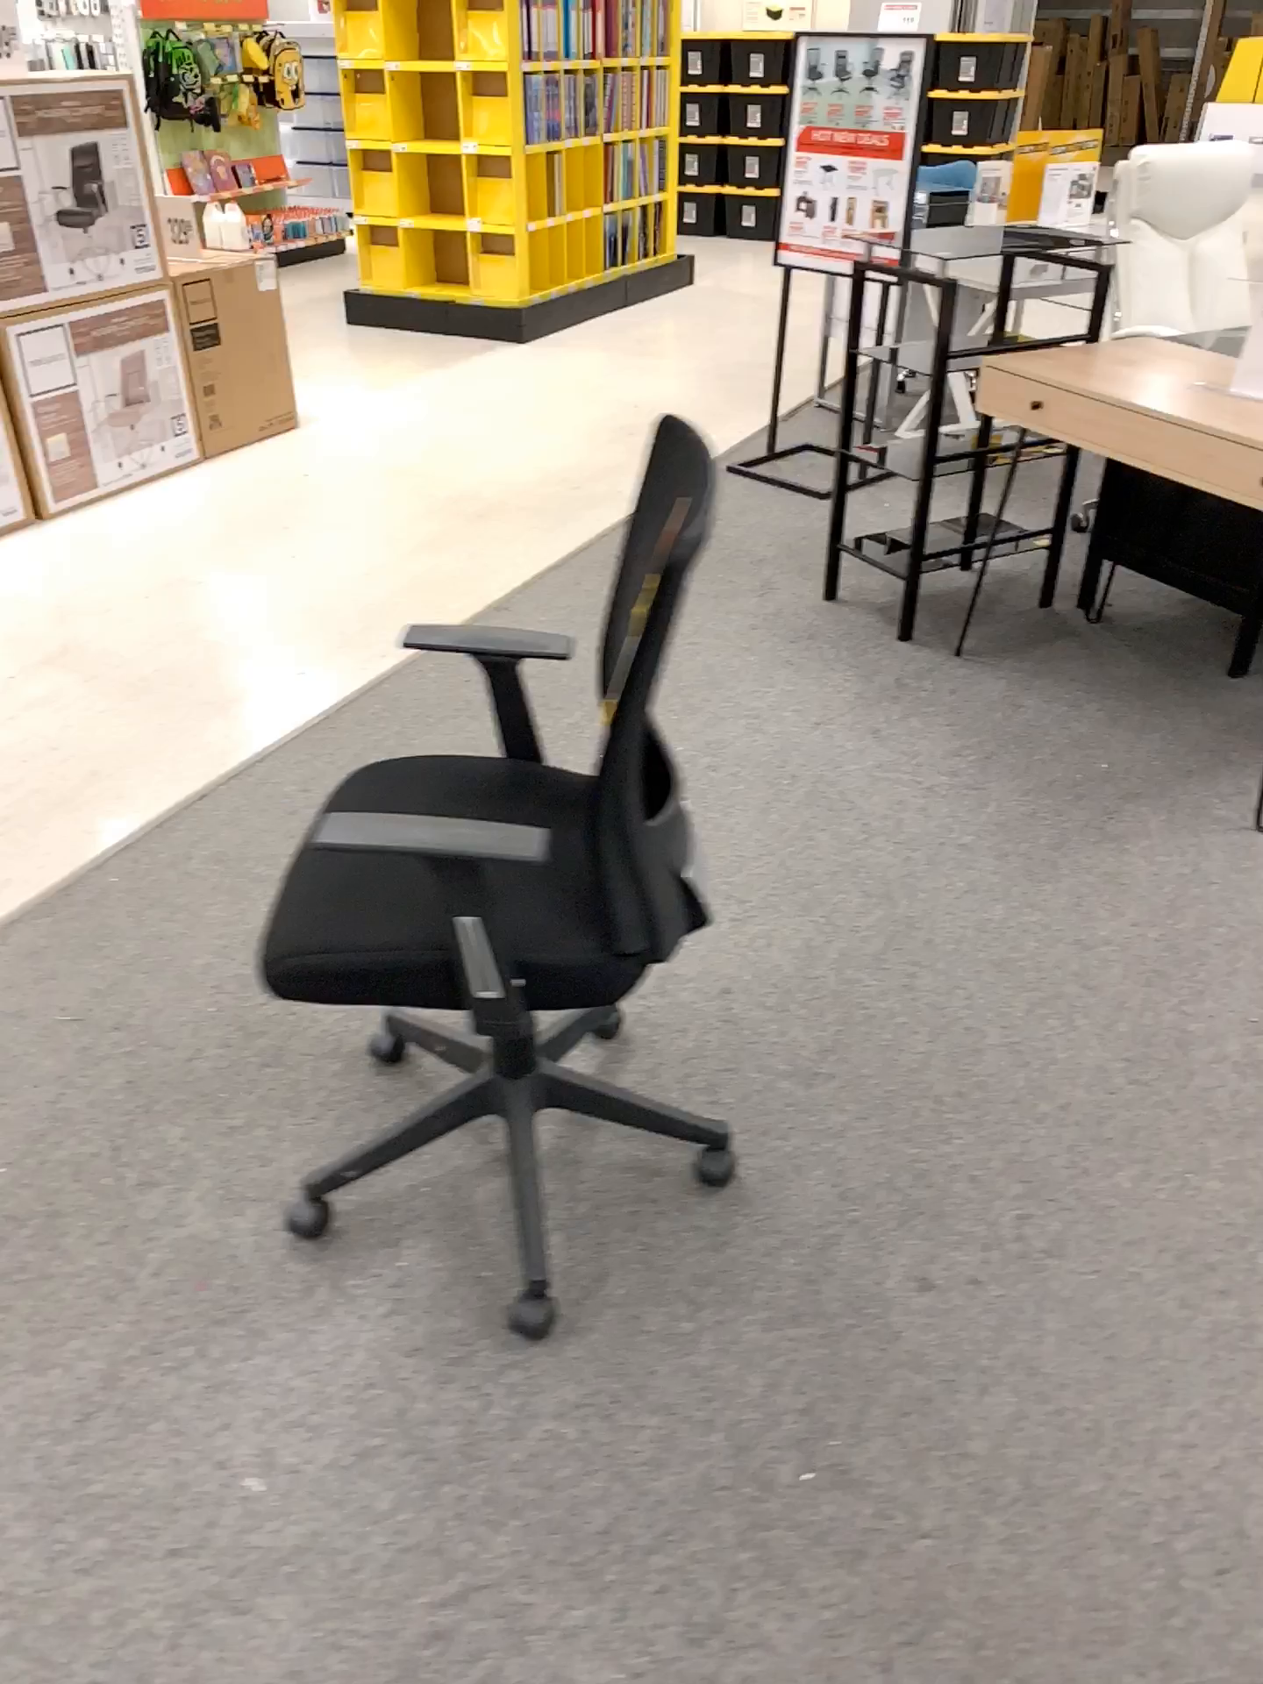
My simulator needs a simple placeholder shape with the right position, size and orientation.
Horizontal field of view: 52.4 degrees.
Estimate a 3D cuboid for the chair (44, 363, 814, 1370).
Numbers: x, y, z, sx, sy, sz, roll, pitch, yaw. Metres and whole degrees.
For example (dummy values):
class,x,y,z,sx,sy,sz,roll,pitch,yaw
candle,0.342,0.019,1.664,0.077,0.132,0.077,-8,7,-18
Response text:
class,x,y,z,sx,sy,sz,roll,pitch,yaw
chair,-0.137,0.009,1.590,0.640,0.995,0.673,4,32,6
